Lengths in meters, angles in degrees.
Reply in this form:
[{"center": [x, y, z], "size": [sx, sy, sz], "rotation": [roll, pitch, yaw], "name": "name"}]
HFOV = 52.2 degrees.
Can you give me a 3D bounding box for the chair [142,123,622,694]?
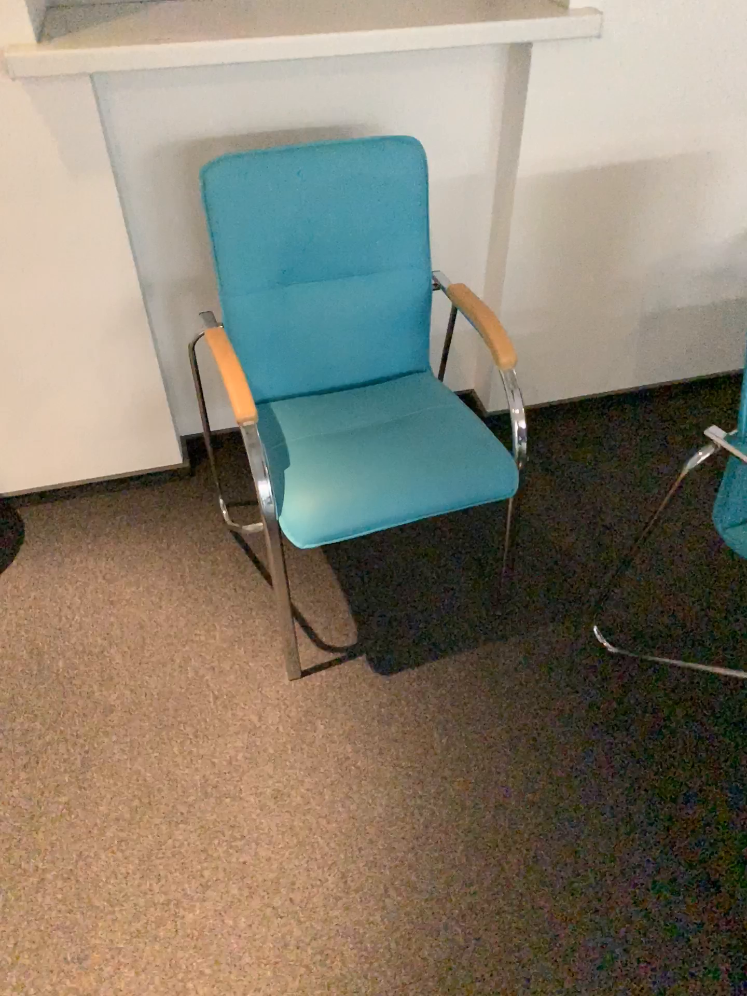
[{"center": [-0.027, -0.184, 1.574], "size": [0.630, 0.855, 0.633], "rotation": [-14, 45, -14], "name": "chair"}]
